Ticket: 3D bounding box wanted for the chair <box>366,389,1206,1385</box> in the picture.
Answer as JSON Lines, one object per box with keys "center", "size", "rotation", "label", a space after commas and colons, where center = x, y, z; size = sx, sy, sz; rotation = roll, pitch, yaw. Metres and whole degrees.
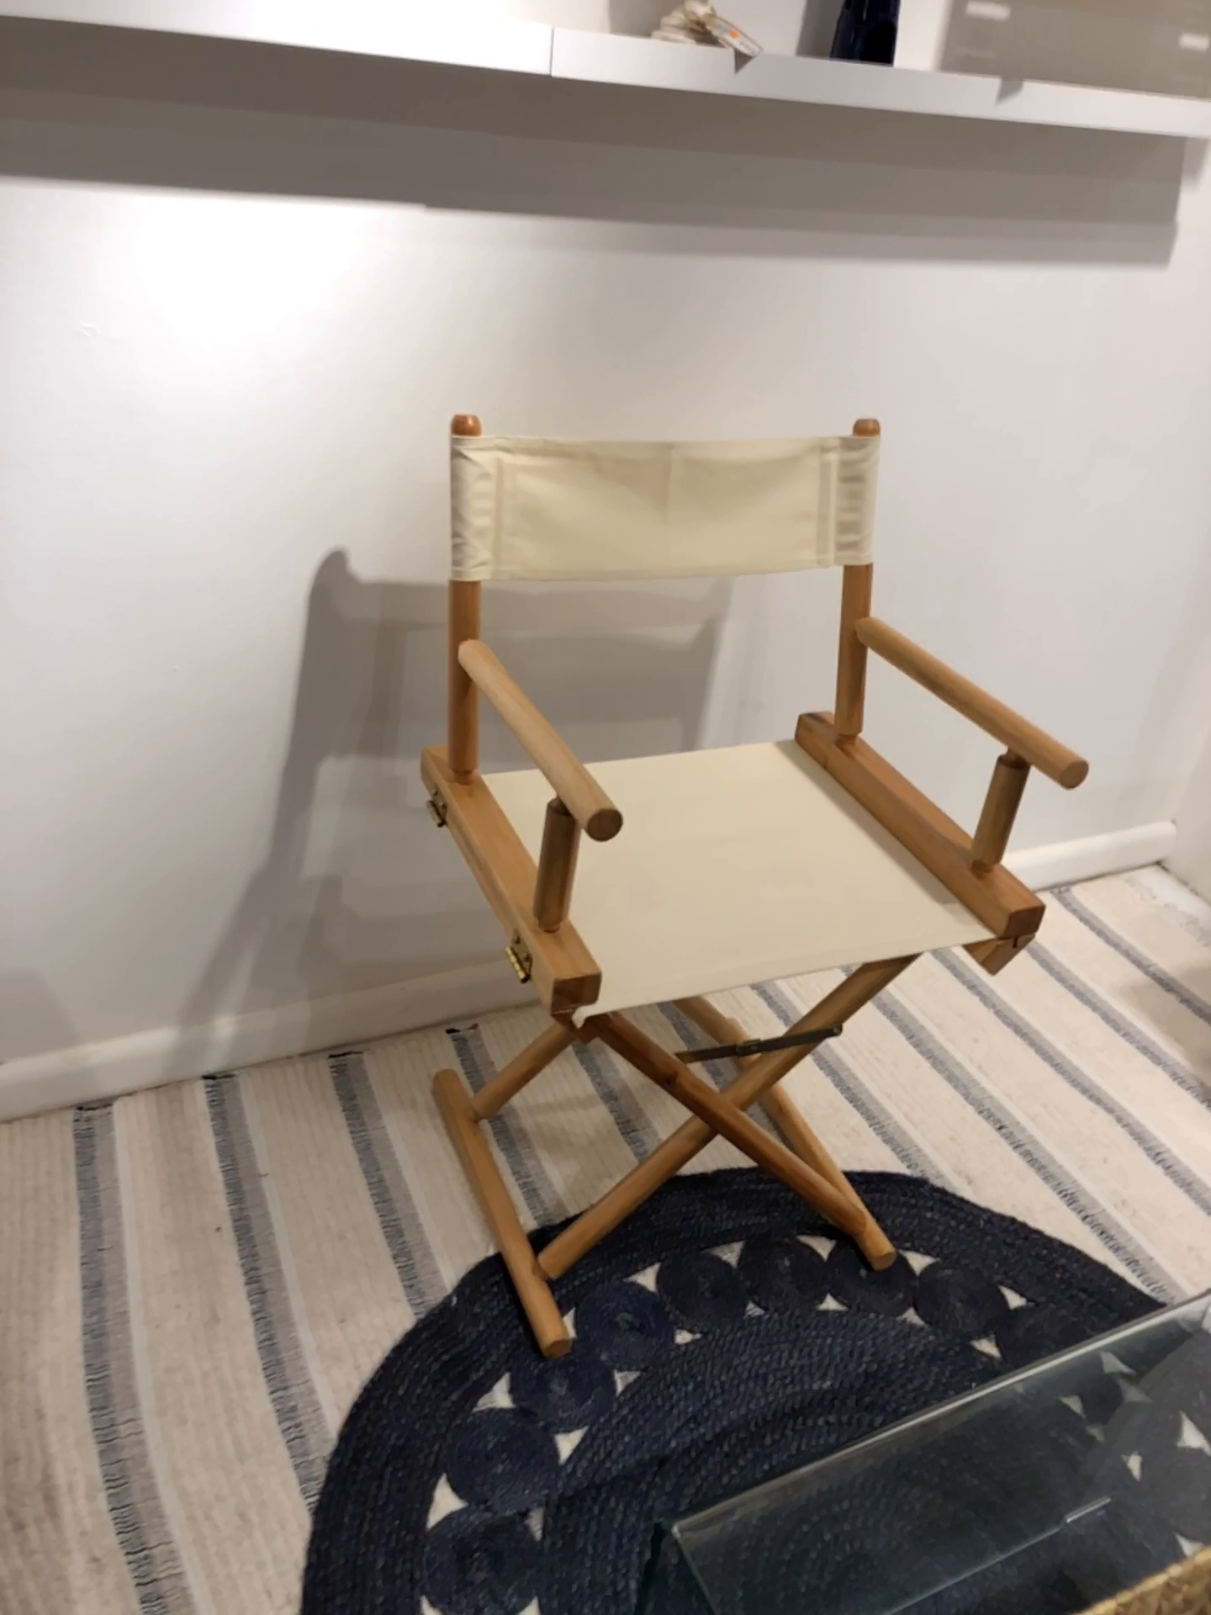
{"center": [0.092, 0.040, 1.399], "size": [0.541, 0.794, 0.563], "rotation": [-7, 34, -23], "label": "chair"}
